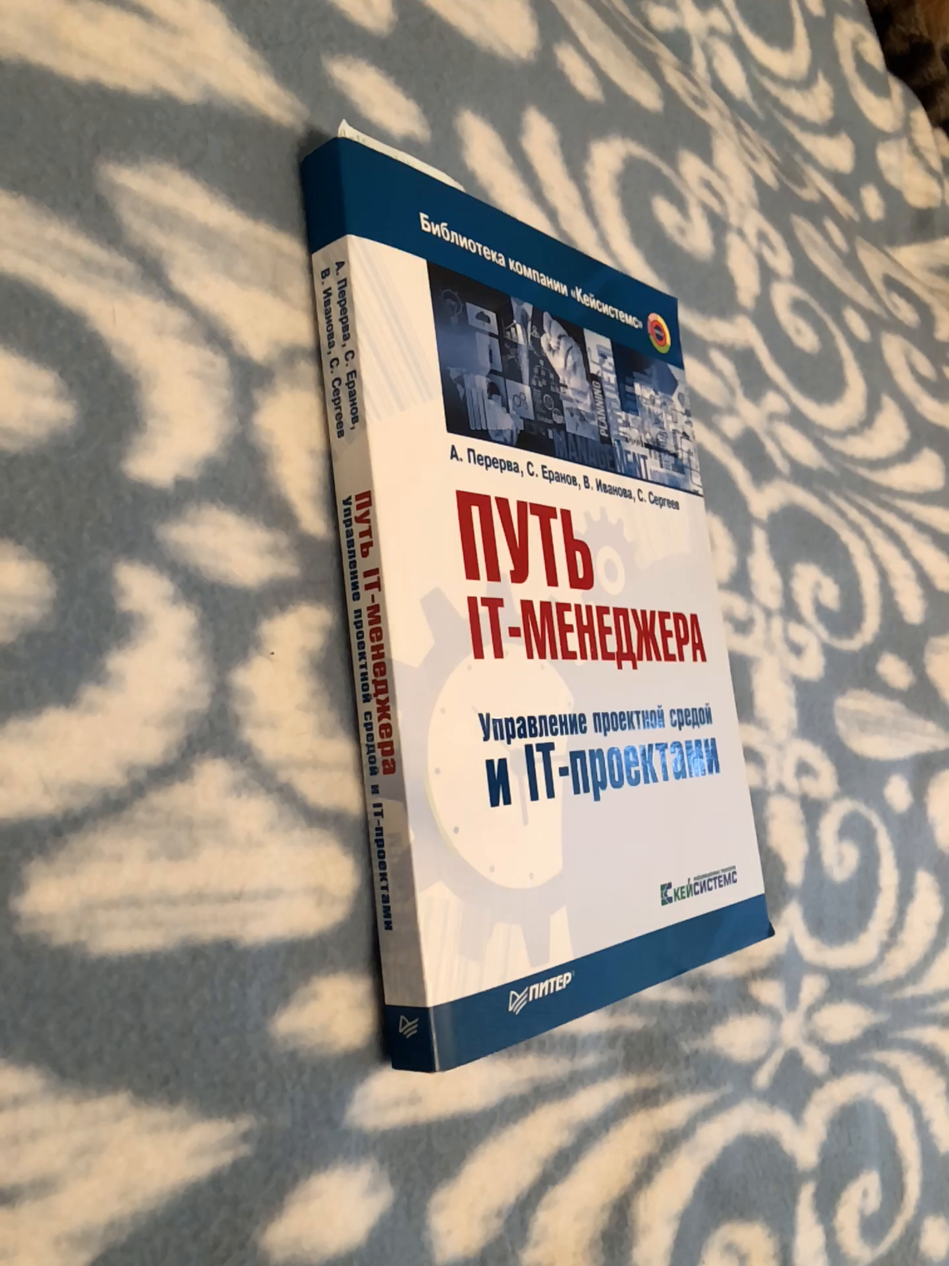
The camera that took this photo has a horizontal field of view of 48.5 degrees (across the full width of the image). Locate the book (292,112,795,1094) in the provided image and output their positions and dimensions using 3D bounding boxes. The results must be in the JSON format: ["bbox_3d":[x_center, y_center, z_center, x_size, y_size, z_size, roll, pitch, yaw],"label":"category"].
[{"bbox_3d":[0.031,-0.010,0.310,0.173,0.019,0.228,2,79,-48],"label":"book"}]
